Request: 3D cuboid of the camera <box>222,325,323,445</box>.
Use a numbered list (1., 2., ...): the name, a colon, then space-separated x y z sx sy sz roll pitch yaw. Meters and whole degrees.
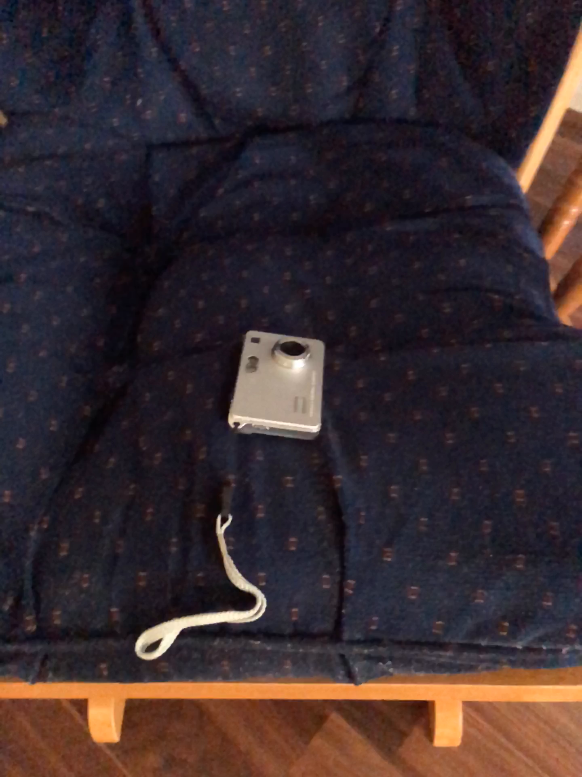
1. camera: -0.010 -0.004 0.423 0.058 0.018 0.085 7 45 -1
